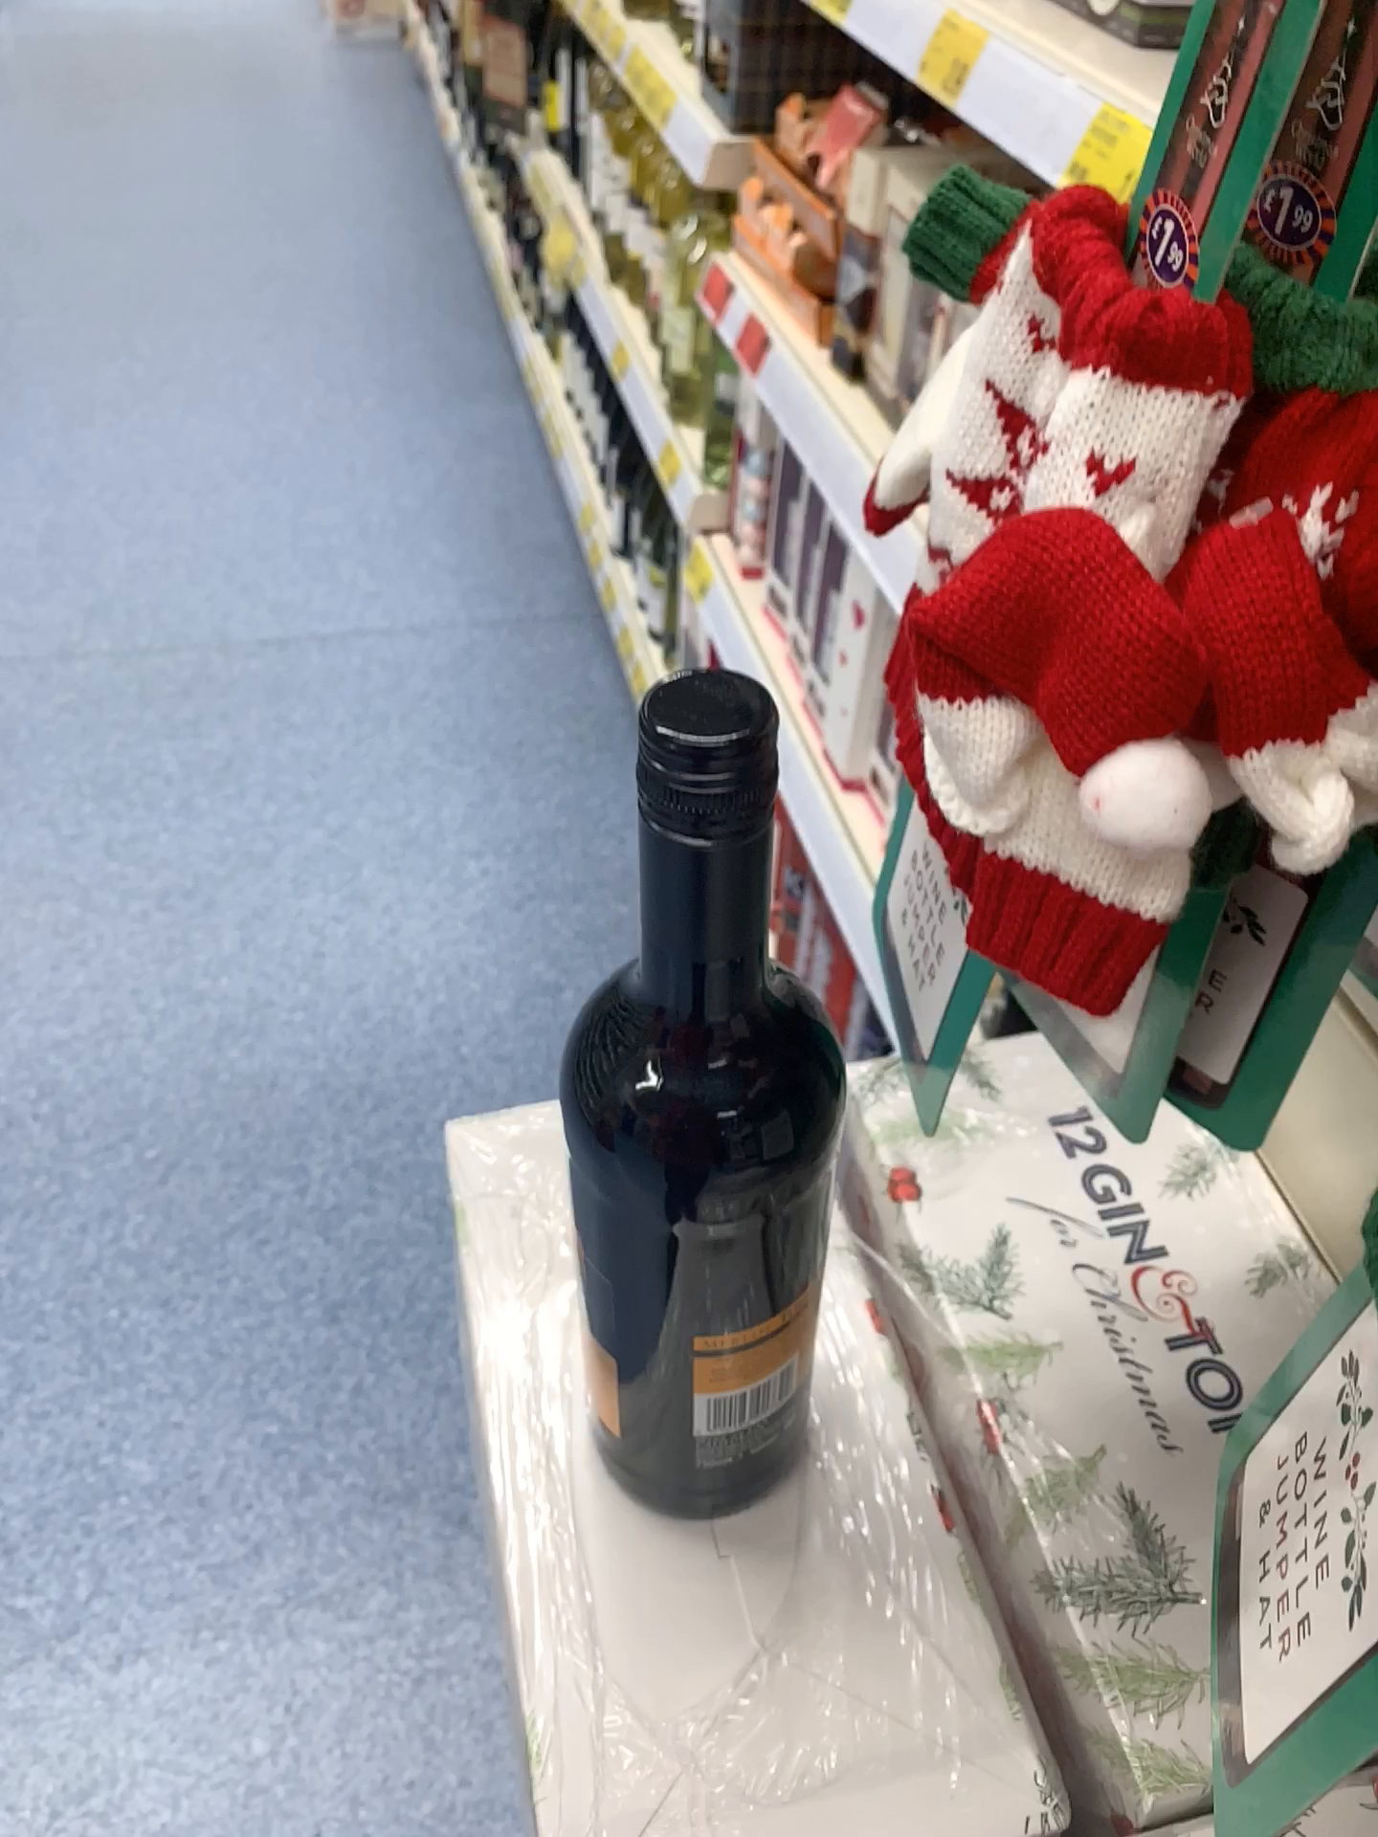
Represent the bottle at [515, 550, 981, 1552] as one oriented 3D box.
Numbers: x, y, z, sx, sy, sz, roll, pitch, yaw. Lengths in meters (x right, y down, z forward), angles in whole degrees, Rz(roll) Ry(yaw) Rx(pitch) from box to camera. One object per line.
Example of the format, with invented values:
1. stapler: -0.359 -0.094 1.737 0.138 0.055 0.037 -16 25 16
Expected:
1. bottle: 0.008 0.057 0.383 0.074 0.288 0.078 2 42 -2
